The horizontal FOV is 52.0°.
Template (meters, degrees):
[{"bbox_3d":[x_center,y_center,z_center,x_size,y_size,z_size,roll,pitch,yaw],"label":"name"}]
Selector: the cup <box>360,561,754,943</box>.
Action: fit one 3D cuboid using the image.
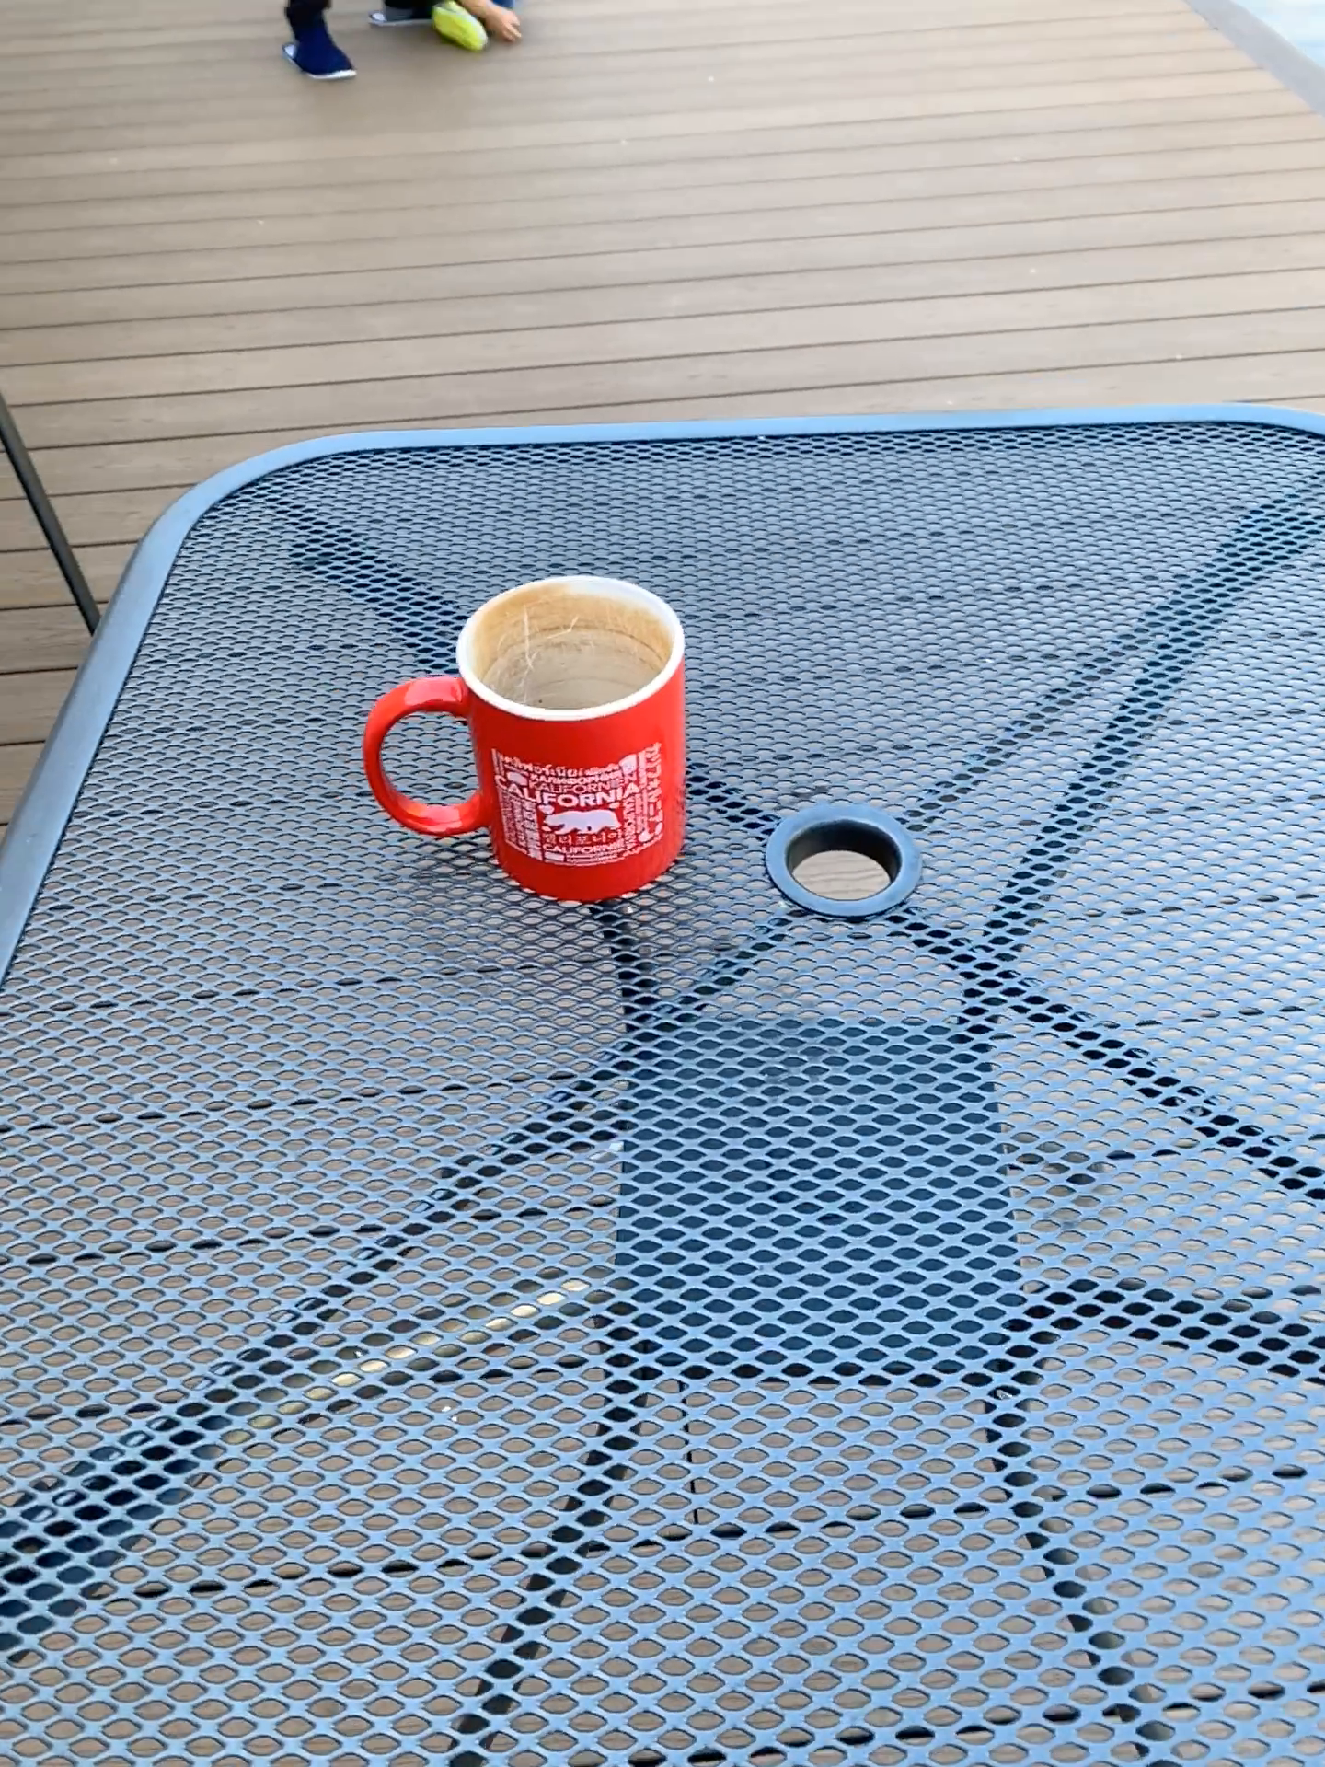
[{"bbox_3d":[-0.041,-0.054,0.552,0.140,0.100,0.100,-6,48,-3],"label":"cup"}]
